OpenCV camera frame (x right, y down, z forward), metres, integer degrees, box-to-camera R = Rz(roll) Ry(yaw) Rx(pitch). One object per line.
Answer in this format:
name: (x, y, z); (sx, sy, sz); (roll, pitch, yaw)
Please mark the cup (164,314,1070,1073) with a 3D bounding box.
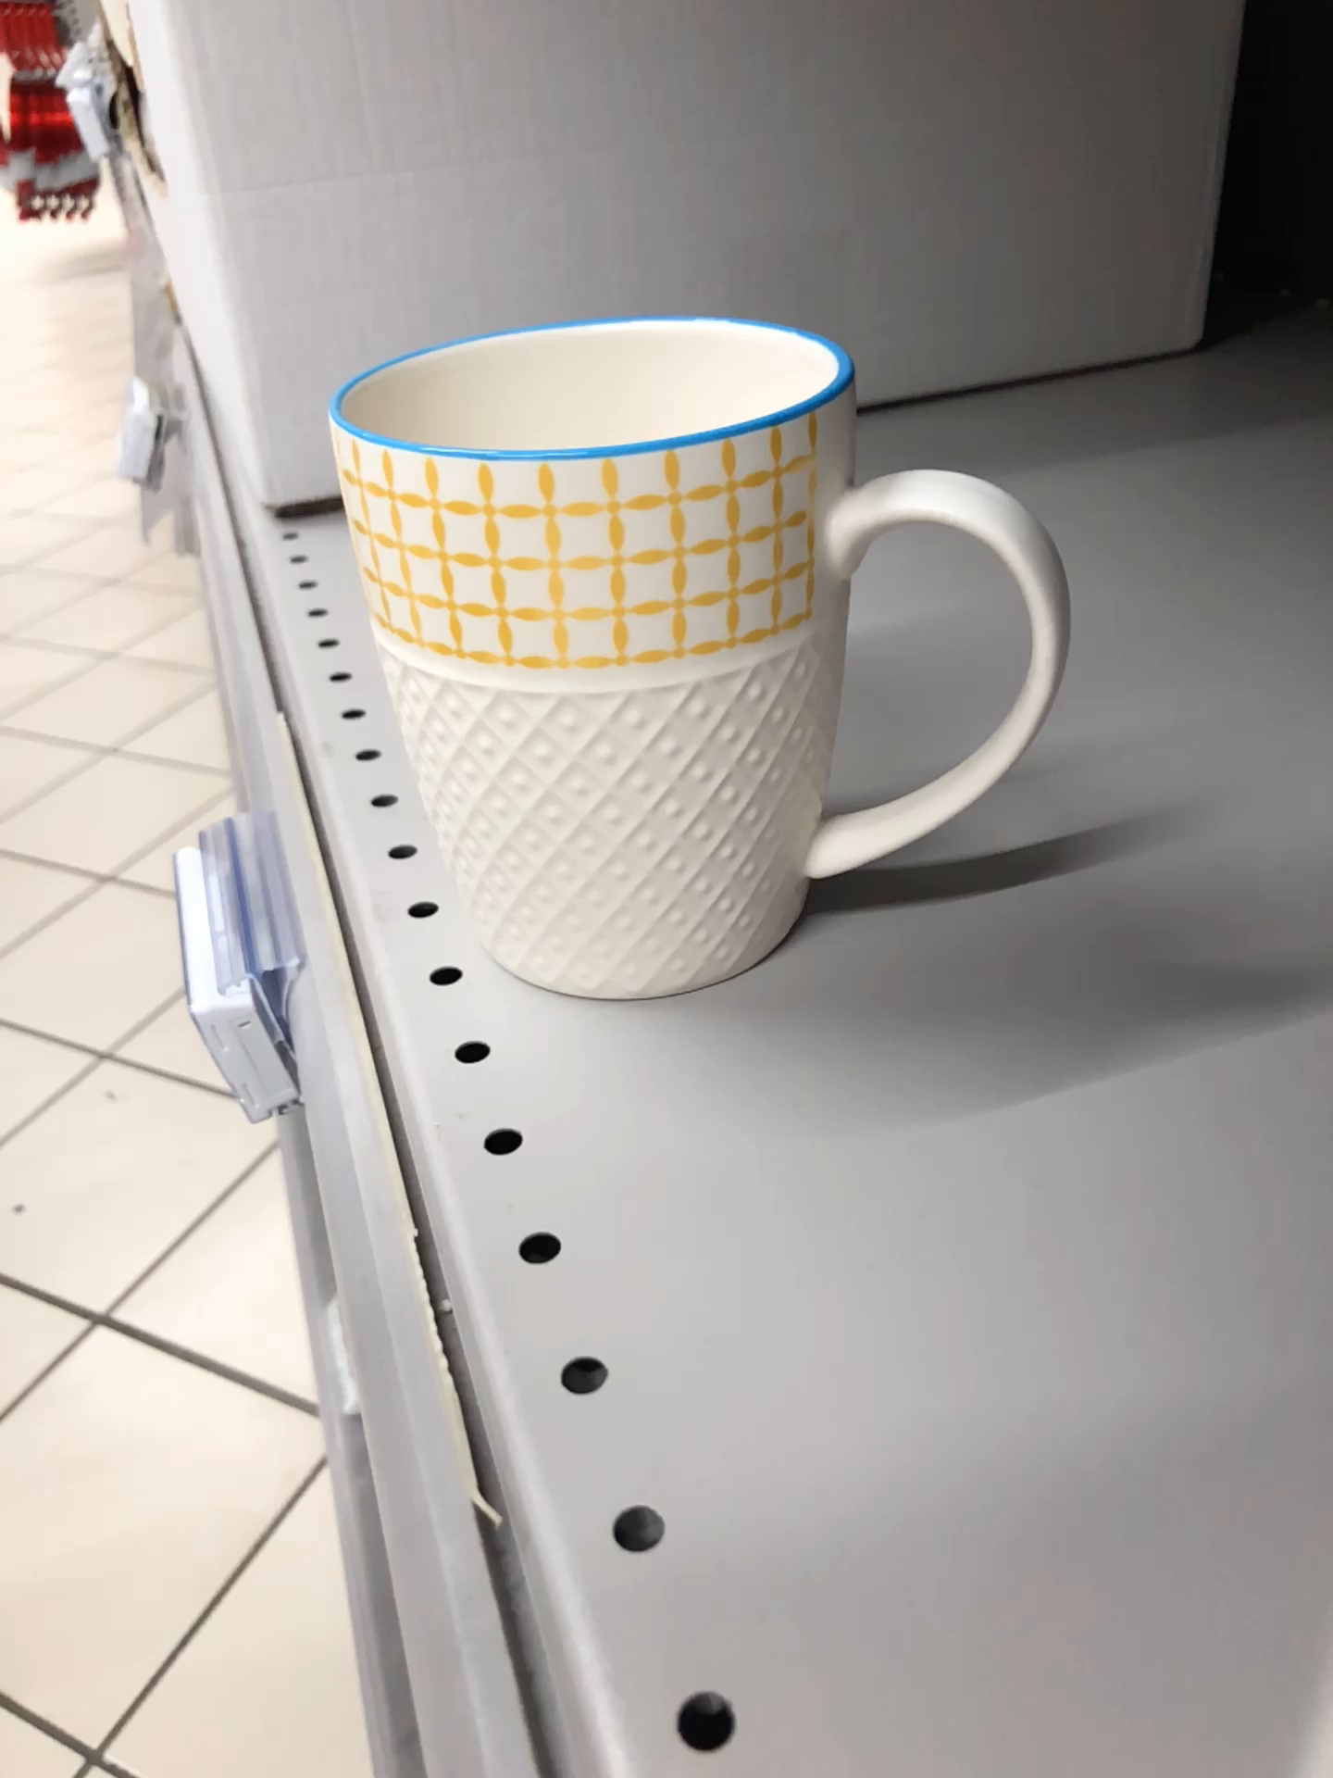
cup: (0.003, -0.044, 0.262); (0.117, 0.092, 0.106); (6, 30, 19)
